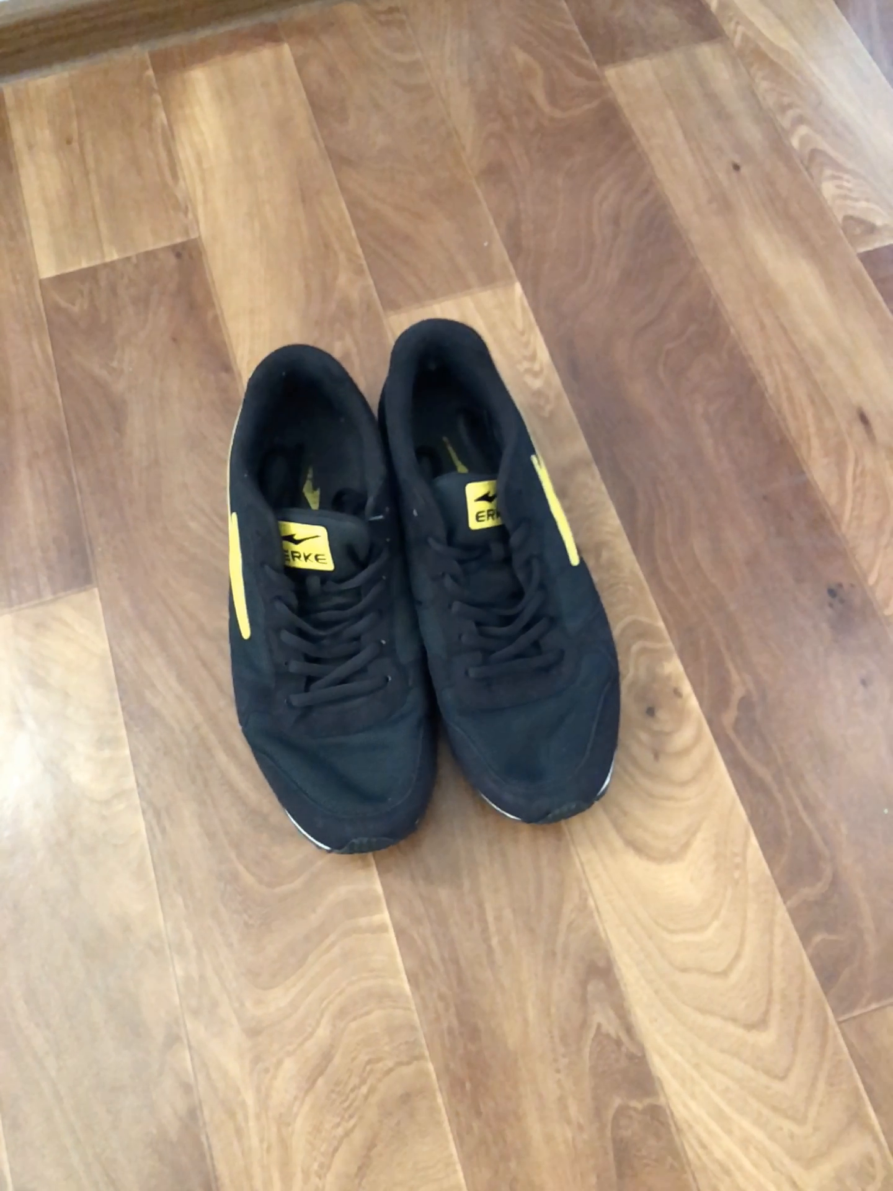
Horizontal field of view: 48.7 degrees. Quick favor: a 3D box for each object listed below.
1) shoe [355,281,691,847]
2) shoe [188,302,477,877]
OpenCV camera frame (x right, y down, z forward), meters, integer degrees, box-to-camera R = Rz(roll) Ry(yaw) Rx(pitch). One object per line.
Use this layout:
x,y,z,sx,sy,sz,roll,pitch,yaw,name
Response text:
0.033,-0.024,0.563,0.110,0.080,0.301,-12,68,-3,shoe
-0.067,-0.009,0.554,0.110,0.080,0.301,-10,68,-3,shoe
